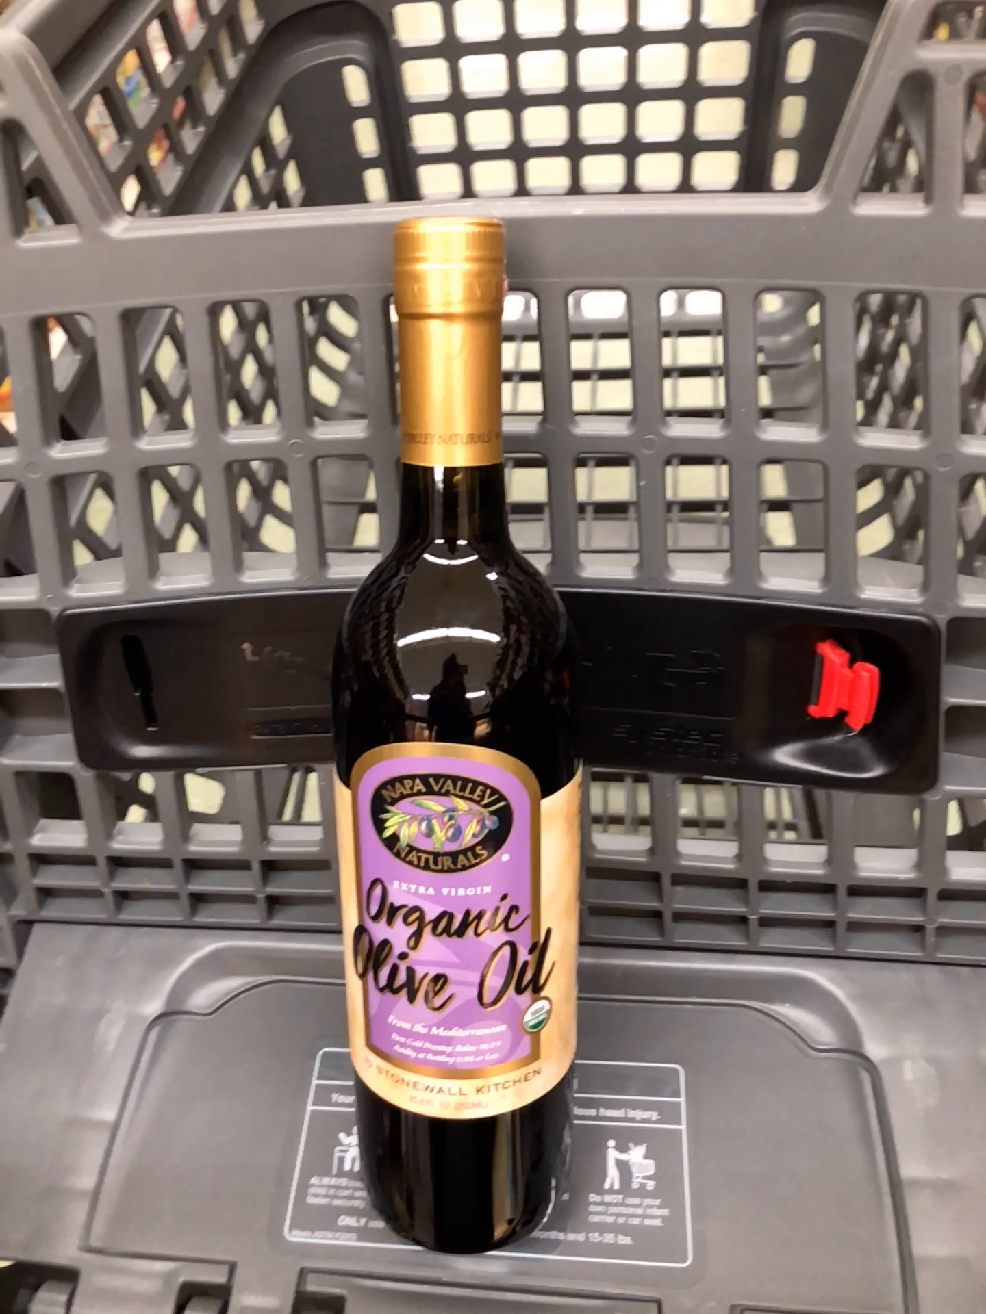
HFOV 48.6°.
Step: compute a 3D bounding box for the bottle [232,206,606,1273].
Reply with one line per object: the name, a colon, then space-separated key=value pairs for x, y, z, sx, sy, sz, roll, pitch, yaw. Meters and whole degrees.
bottle: x=-0.012 y=0.030 z=0.326 sx=0.080 sy=0.300 sz=0.080 roll=0 pitch=19 yaw=0
